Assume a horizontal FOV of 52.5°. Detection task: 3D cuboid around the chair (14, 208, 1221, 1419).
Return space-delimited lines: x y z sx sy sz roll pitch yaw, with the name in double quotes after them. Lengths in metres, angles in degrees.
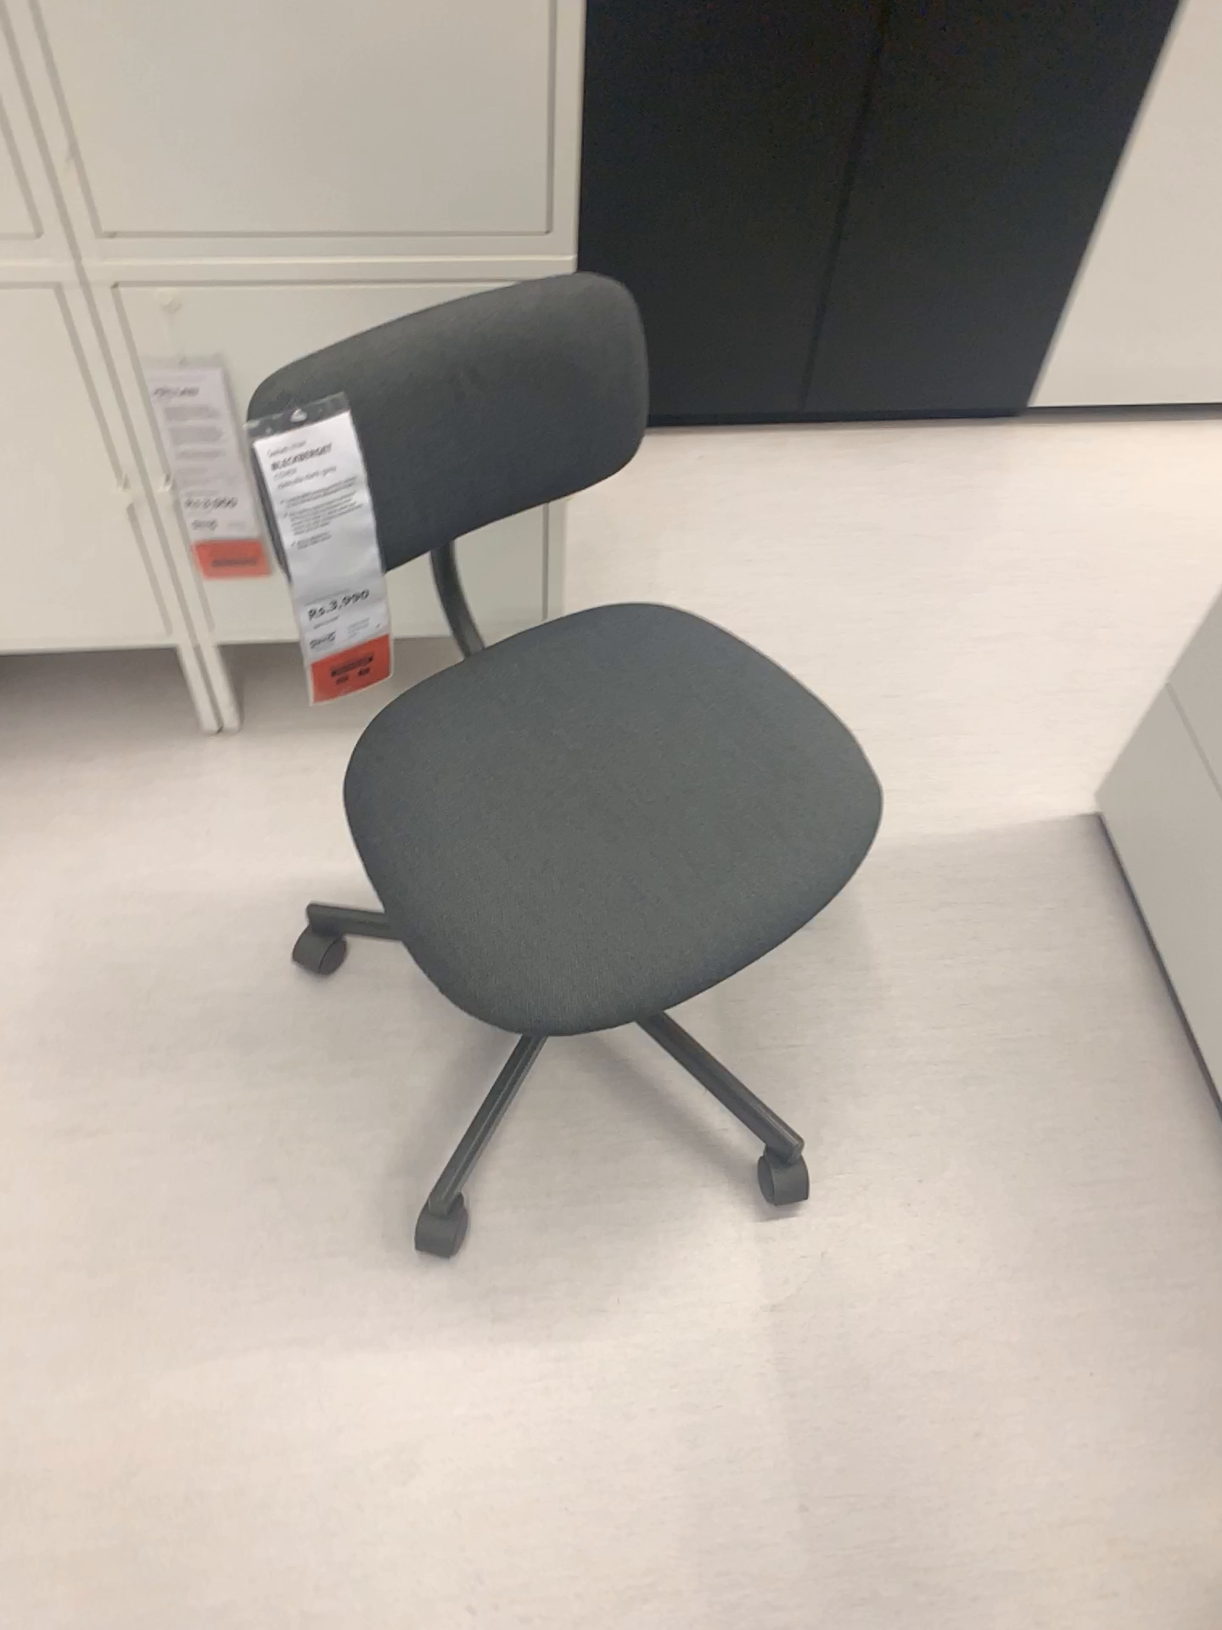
-0.016 -0.010 1.187 0.720 0.678 0.711 -20 58 -17 "chair"
